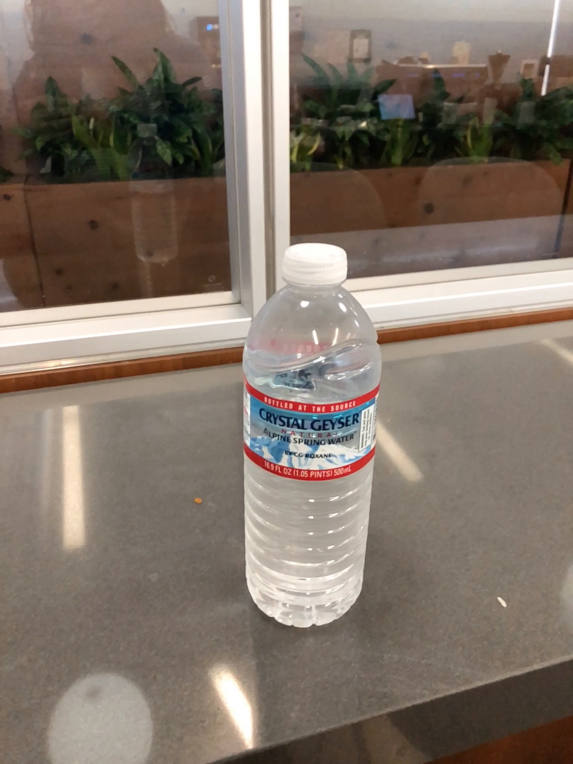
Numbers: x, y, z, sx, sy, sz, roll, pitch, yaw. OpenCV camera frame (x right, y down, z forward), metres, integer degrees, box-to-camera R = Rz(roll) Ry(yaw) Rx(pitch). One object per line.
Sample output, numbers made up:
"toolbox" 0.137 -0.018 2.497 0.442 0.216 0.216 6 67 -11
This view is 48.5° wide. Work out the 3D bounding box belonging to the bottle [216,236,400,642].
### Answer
"bottle" 0.009 0.031 0.315 0.070 0.189 0.070 0 26 0
